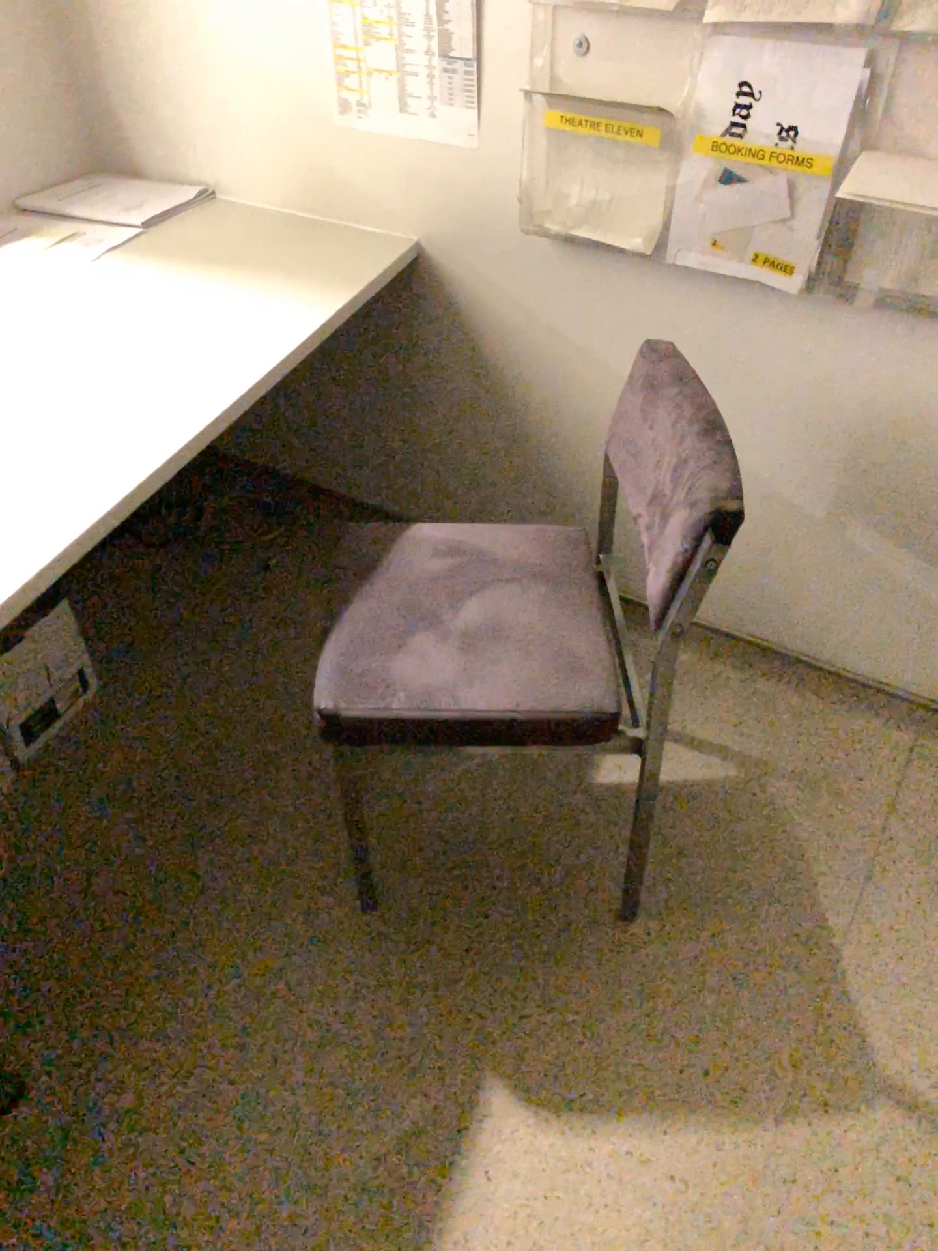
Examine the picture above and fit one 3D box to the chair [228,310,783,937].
[{"bbox_3d":[0.040,0.002,1.354,0.540,0.693,0.545,-1,40,0],"label":"chair"}]
